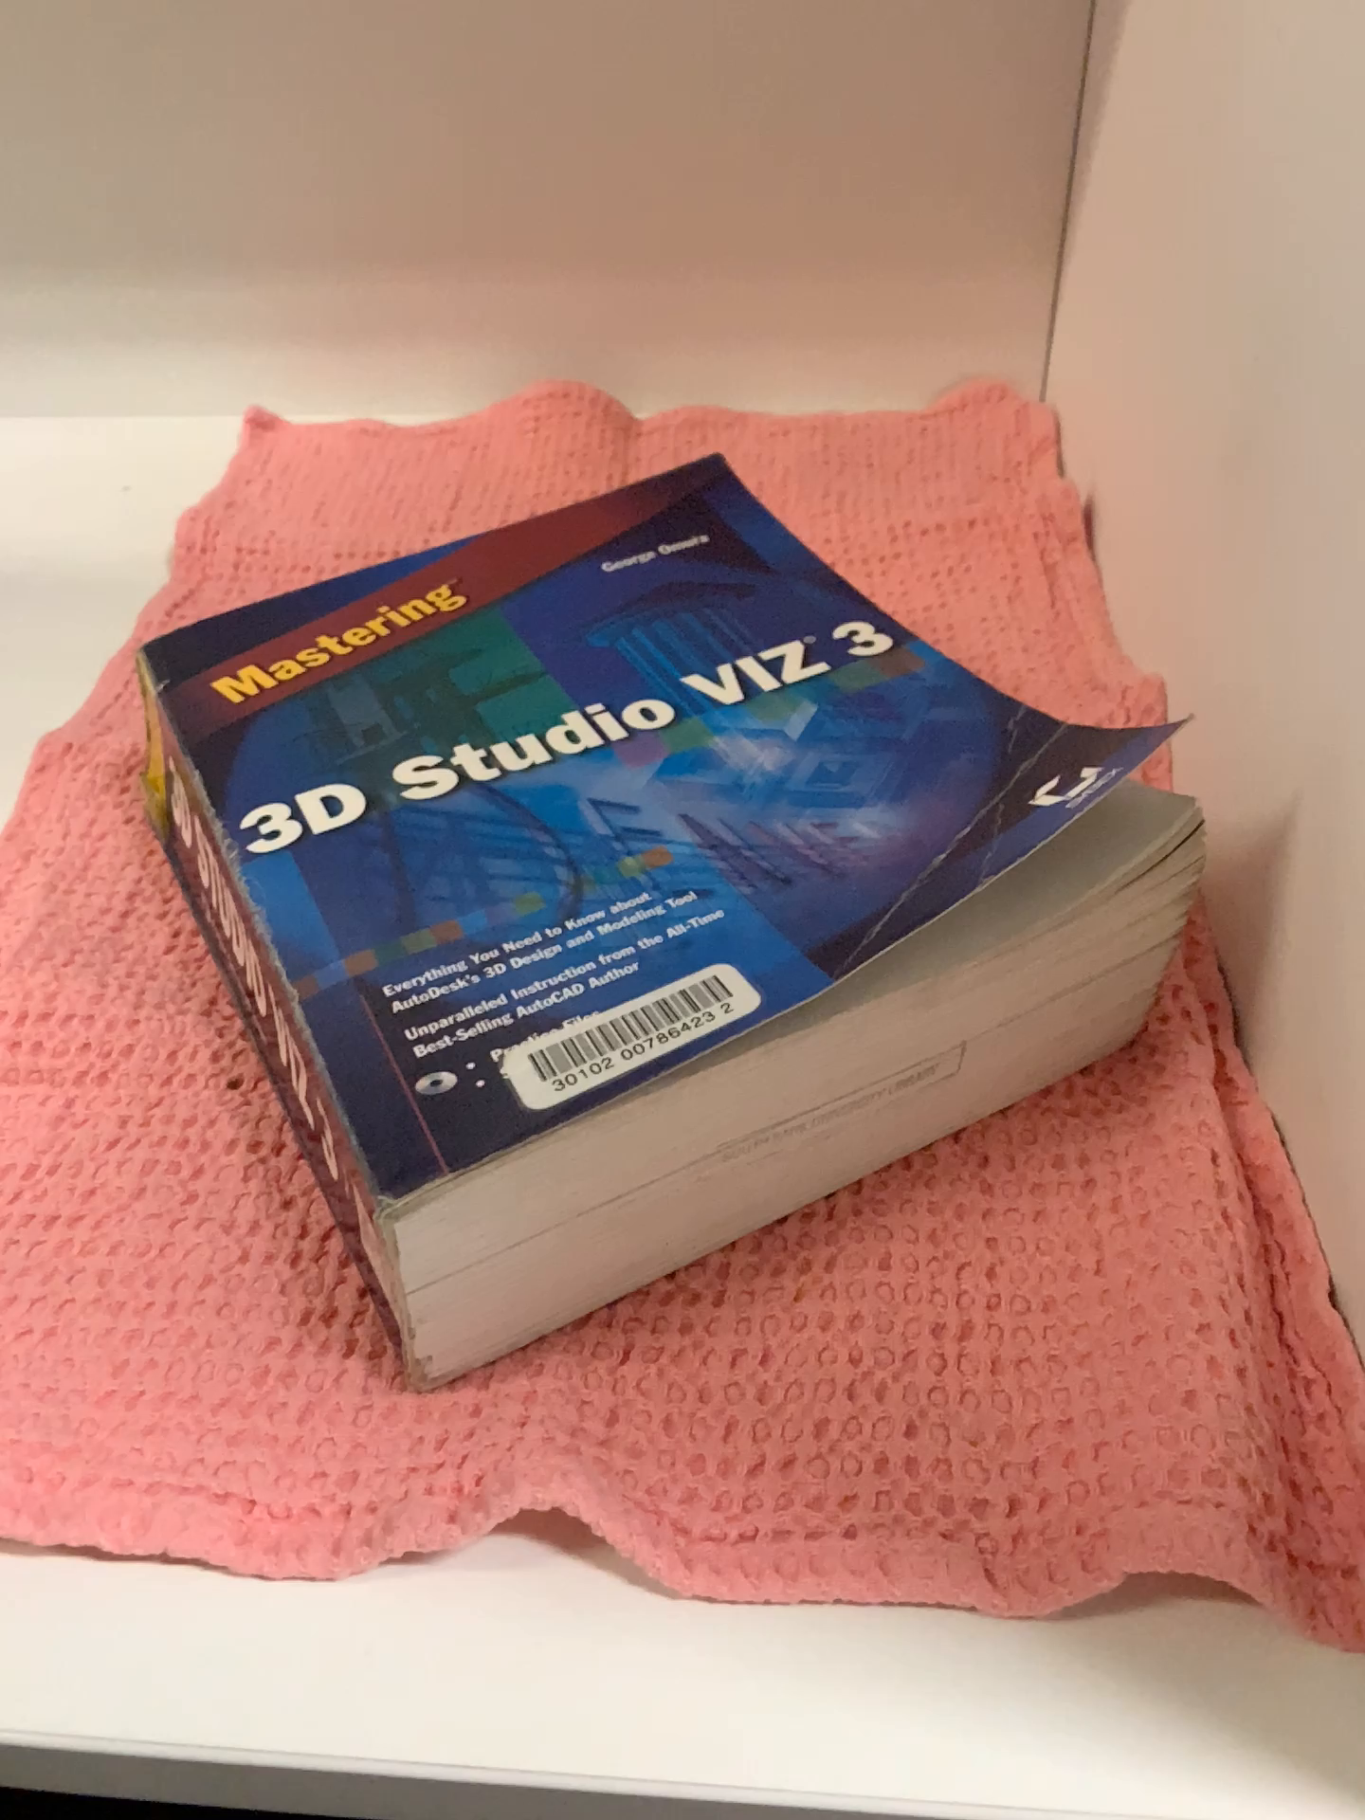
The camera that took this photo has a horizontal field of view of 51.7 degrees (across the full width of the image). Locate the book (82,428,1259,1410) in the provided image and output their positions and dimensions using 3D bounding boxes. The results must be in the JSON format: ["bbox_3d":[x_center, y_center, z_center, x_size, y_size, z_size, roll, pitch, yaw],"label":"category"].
[{"bbox_3d":[-0.020,-0.029,0.372,0.206,0.076,0.233,-20,44,-20],"label":"book"}]
